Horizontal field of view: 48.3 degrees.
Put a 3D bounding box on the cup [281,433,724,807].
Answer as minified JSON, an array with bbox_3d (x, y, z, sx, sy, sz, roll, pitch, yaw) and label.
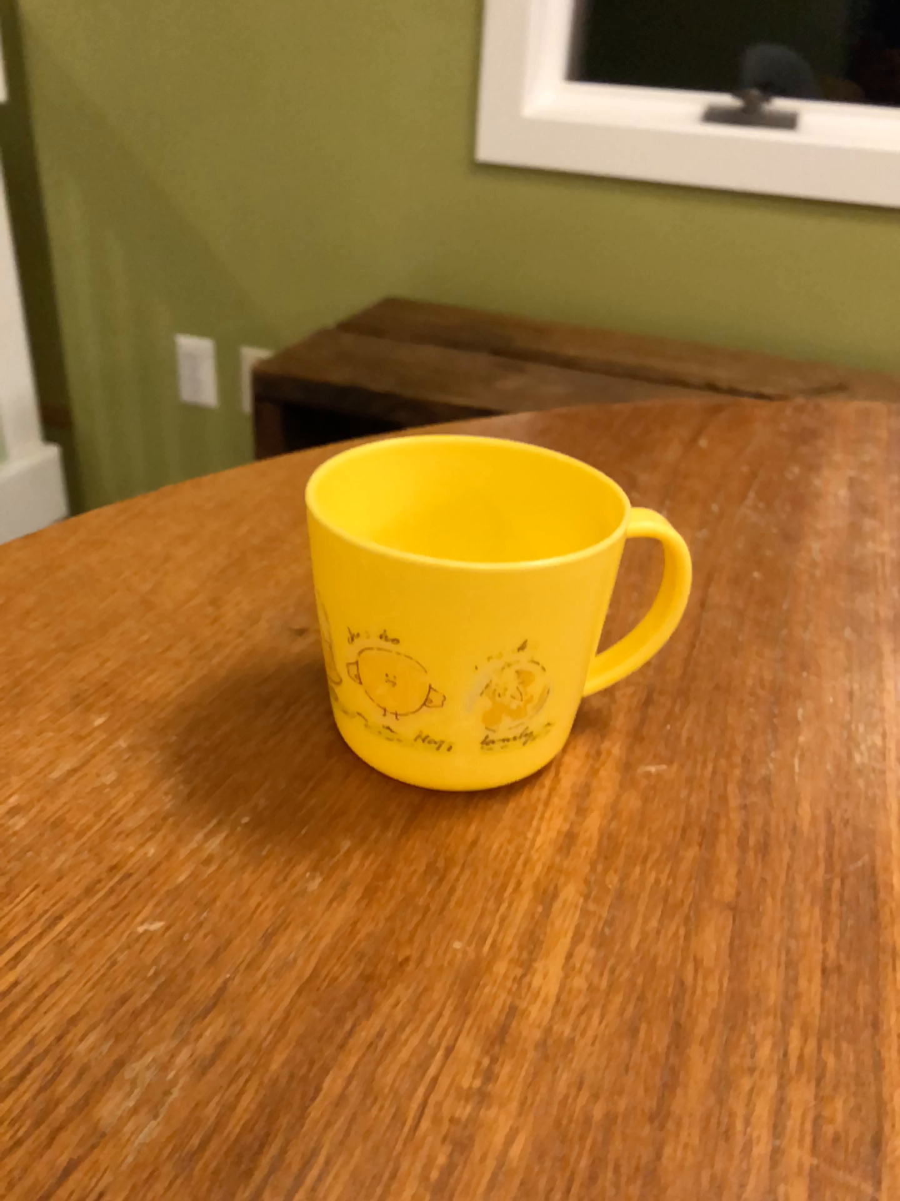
[{"bbox_3d":[0.007,0.000,0.275,0.097,0.064,0.081,-3,30,-12],"label":"cup"}]
